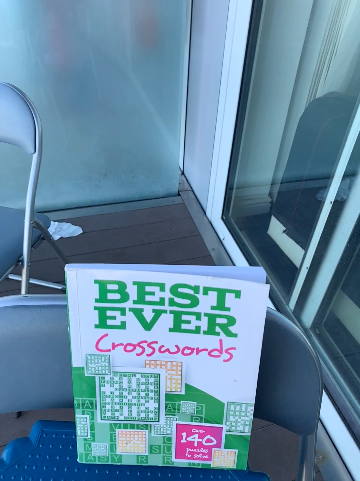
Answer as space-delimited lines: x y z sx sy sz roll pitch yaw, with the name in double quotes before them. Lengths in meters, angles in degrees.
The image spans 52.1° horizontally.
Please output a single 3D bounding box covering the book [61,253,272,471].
"book" -0.014 0.111 0.319 0.157 0.196 0.030 2 19 -1
